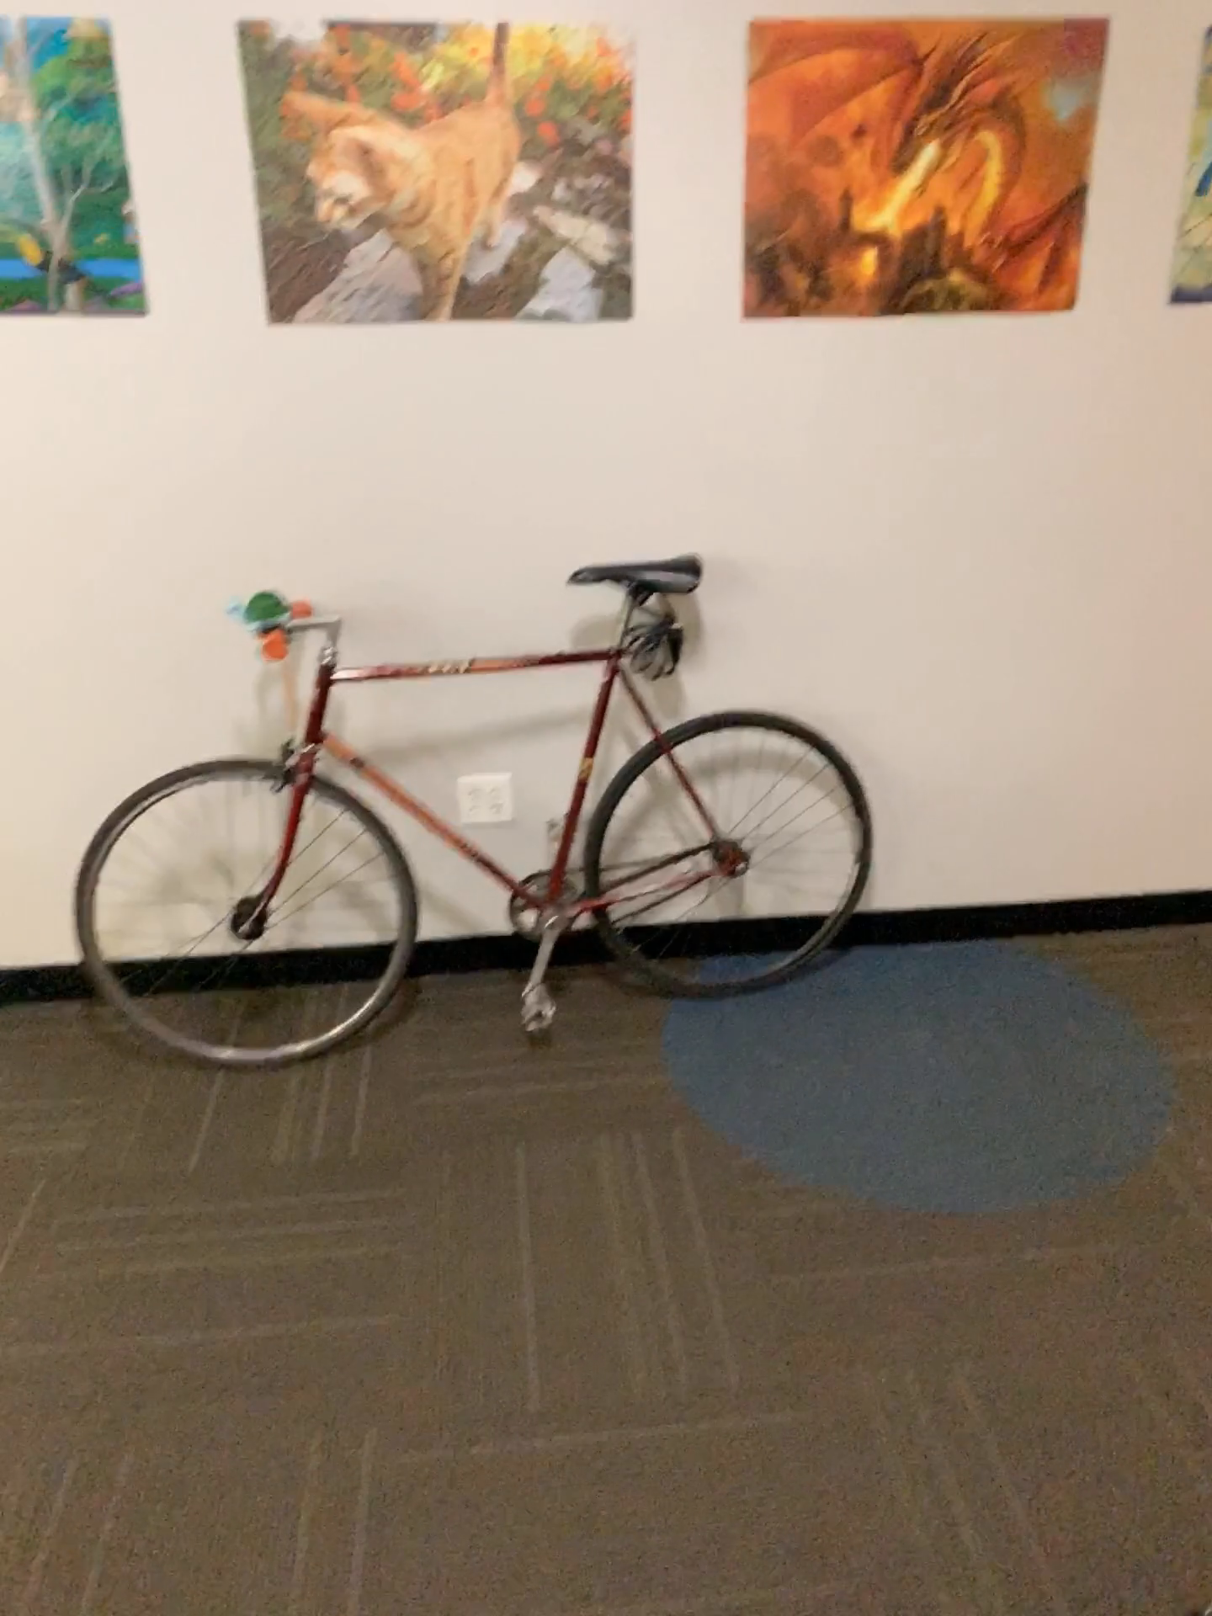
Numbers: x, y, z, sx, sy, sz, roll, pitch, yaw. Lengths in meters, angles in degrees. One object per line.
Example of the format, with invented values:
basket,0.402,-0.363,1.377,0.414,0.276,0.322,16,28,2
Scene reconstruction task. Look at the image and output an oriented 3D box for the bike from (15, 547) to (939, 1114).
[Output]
bike,-0.219,0.006,2.550,1.625,0.910,0.451,-6,23,-11
